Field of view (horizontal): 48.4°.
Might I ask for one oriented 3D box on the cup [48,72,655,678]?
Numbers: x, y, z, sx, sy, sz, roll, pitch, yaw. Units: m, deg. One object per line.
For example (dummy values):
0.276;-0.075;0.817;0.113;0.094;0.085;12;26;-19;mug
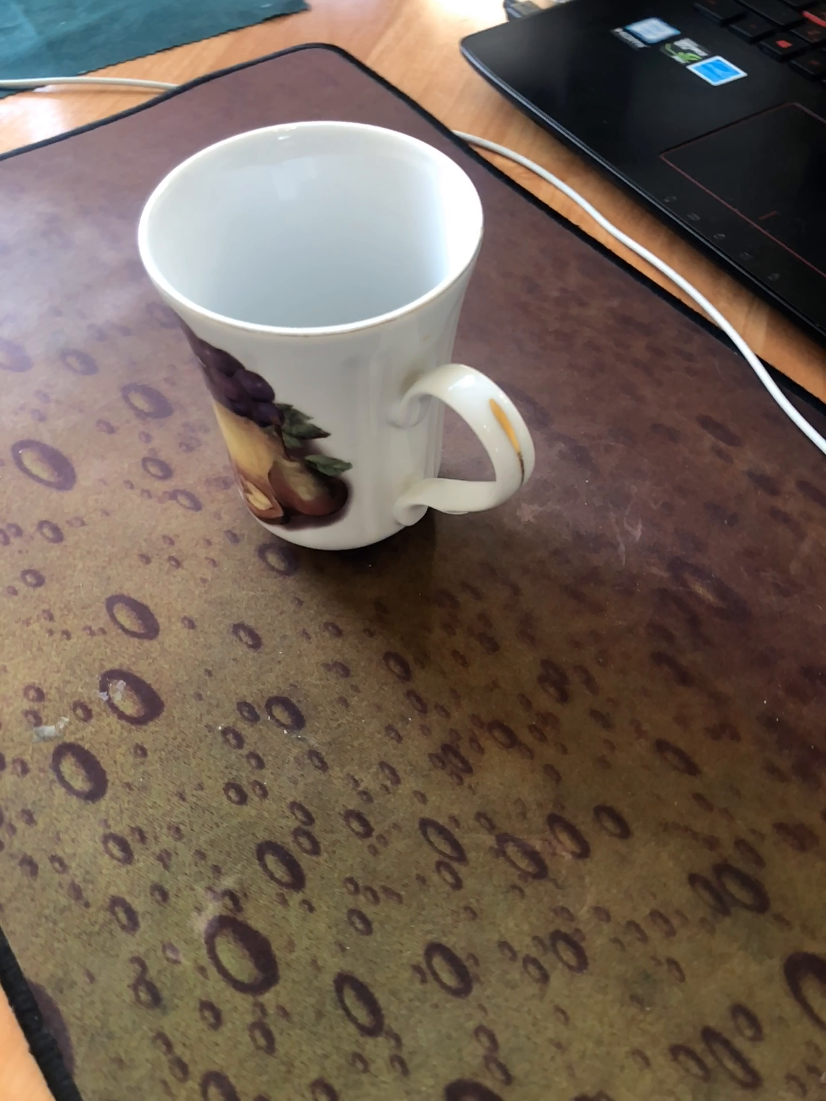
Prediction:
-0.014;-0.045;0.223;0.080;0.080;0.100;-38;62;-25;cup
